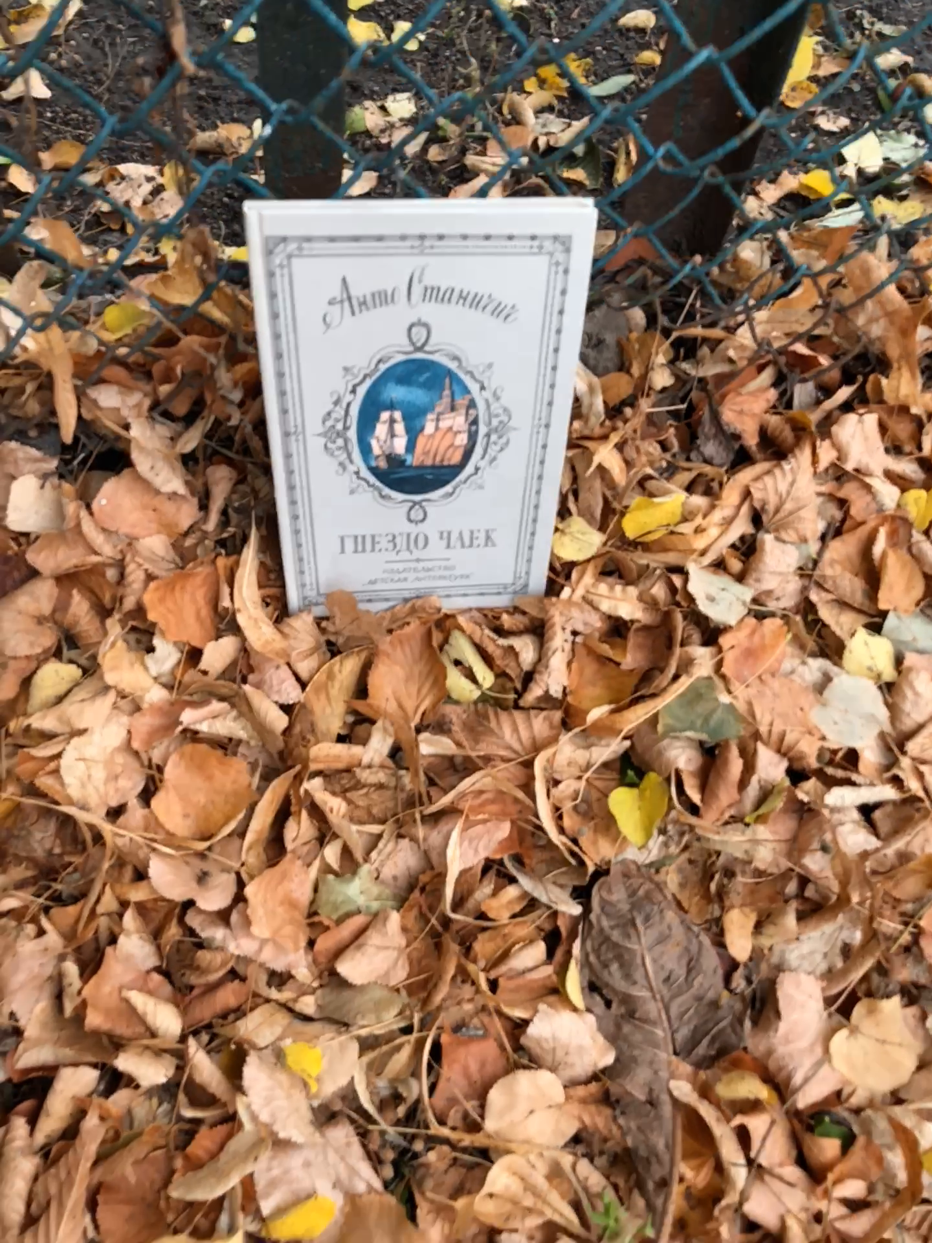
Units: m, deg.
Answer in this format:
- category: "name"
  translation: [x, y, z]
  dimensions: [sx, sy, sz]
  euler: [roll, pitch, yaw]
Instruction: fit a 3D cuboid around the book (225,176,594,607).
- category: "book"
  translation: [-0.023, -0.085, 0.432]
  dimensions: [0.128, 0.200, 0.016]
  euler: [-3, 47, -6]
